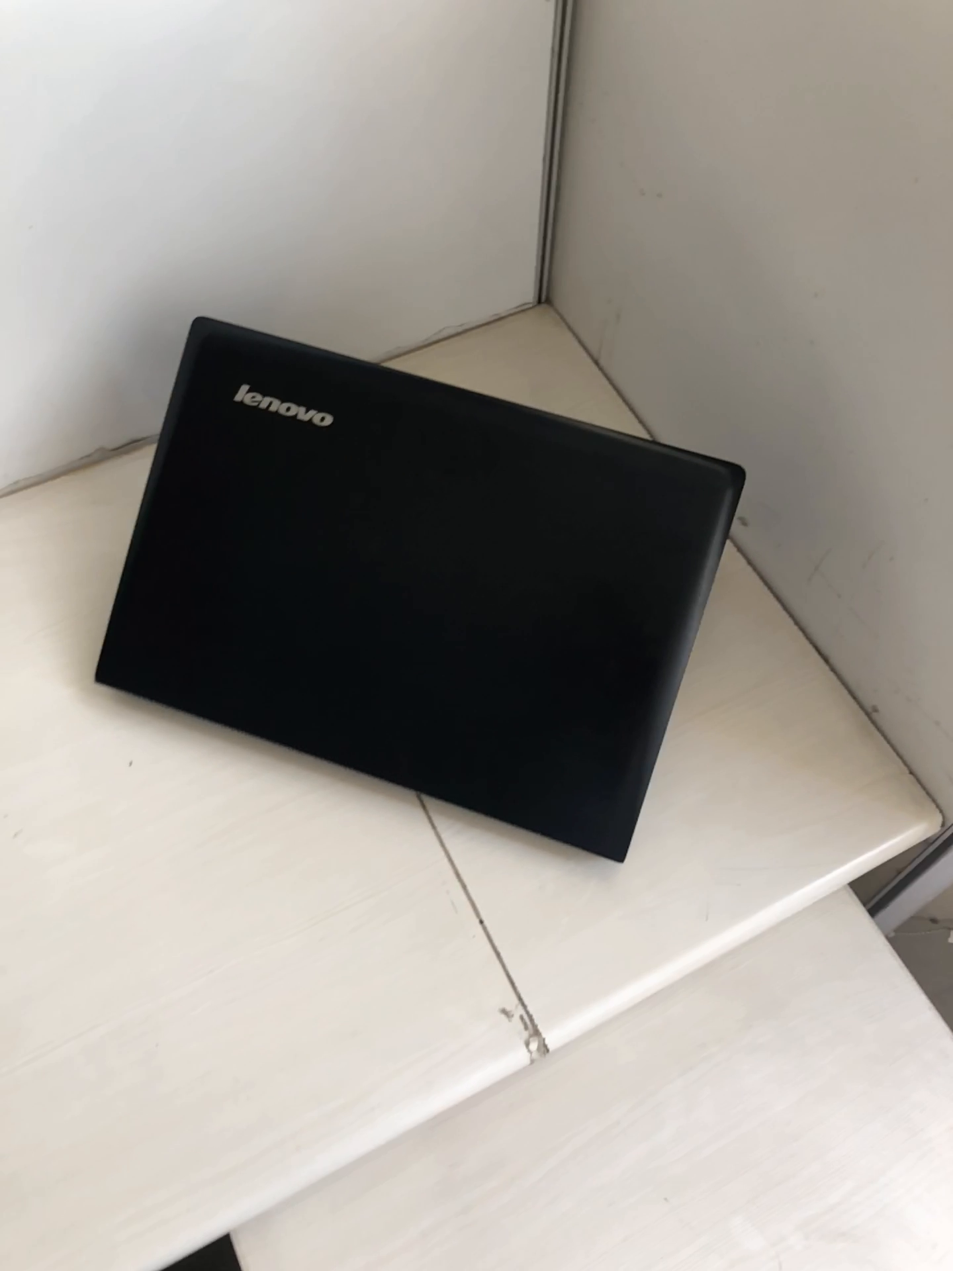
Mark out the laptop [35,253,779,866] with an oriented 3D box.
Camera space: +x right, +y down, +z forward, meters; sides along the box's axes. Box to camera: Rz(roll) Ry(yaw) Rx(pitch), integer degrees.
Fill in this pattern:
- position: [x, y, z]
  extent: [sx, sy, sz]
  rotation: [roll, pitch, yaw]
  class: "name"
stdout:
- position: [-0.036, -0.054, 0.697]
  extent: [0.374, 0.162, 0.253]
  rotation: [18, 64, 9]
  class: "laptop"
